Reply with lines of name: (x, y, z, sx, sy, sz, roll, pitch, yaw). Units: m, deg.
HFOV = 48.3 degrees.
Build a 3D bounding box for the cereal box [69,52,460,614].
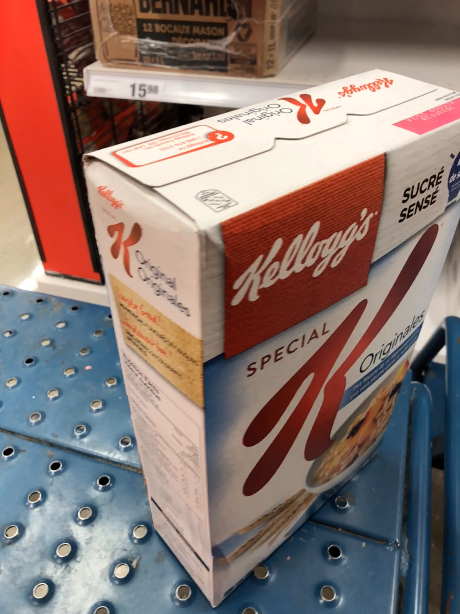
cereal box: (0.041, 0.024, 0.326, 0.210, 0.299, 0.080, -29, 46, -32)
